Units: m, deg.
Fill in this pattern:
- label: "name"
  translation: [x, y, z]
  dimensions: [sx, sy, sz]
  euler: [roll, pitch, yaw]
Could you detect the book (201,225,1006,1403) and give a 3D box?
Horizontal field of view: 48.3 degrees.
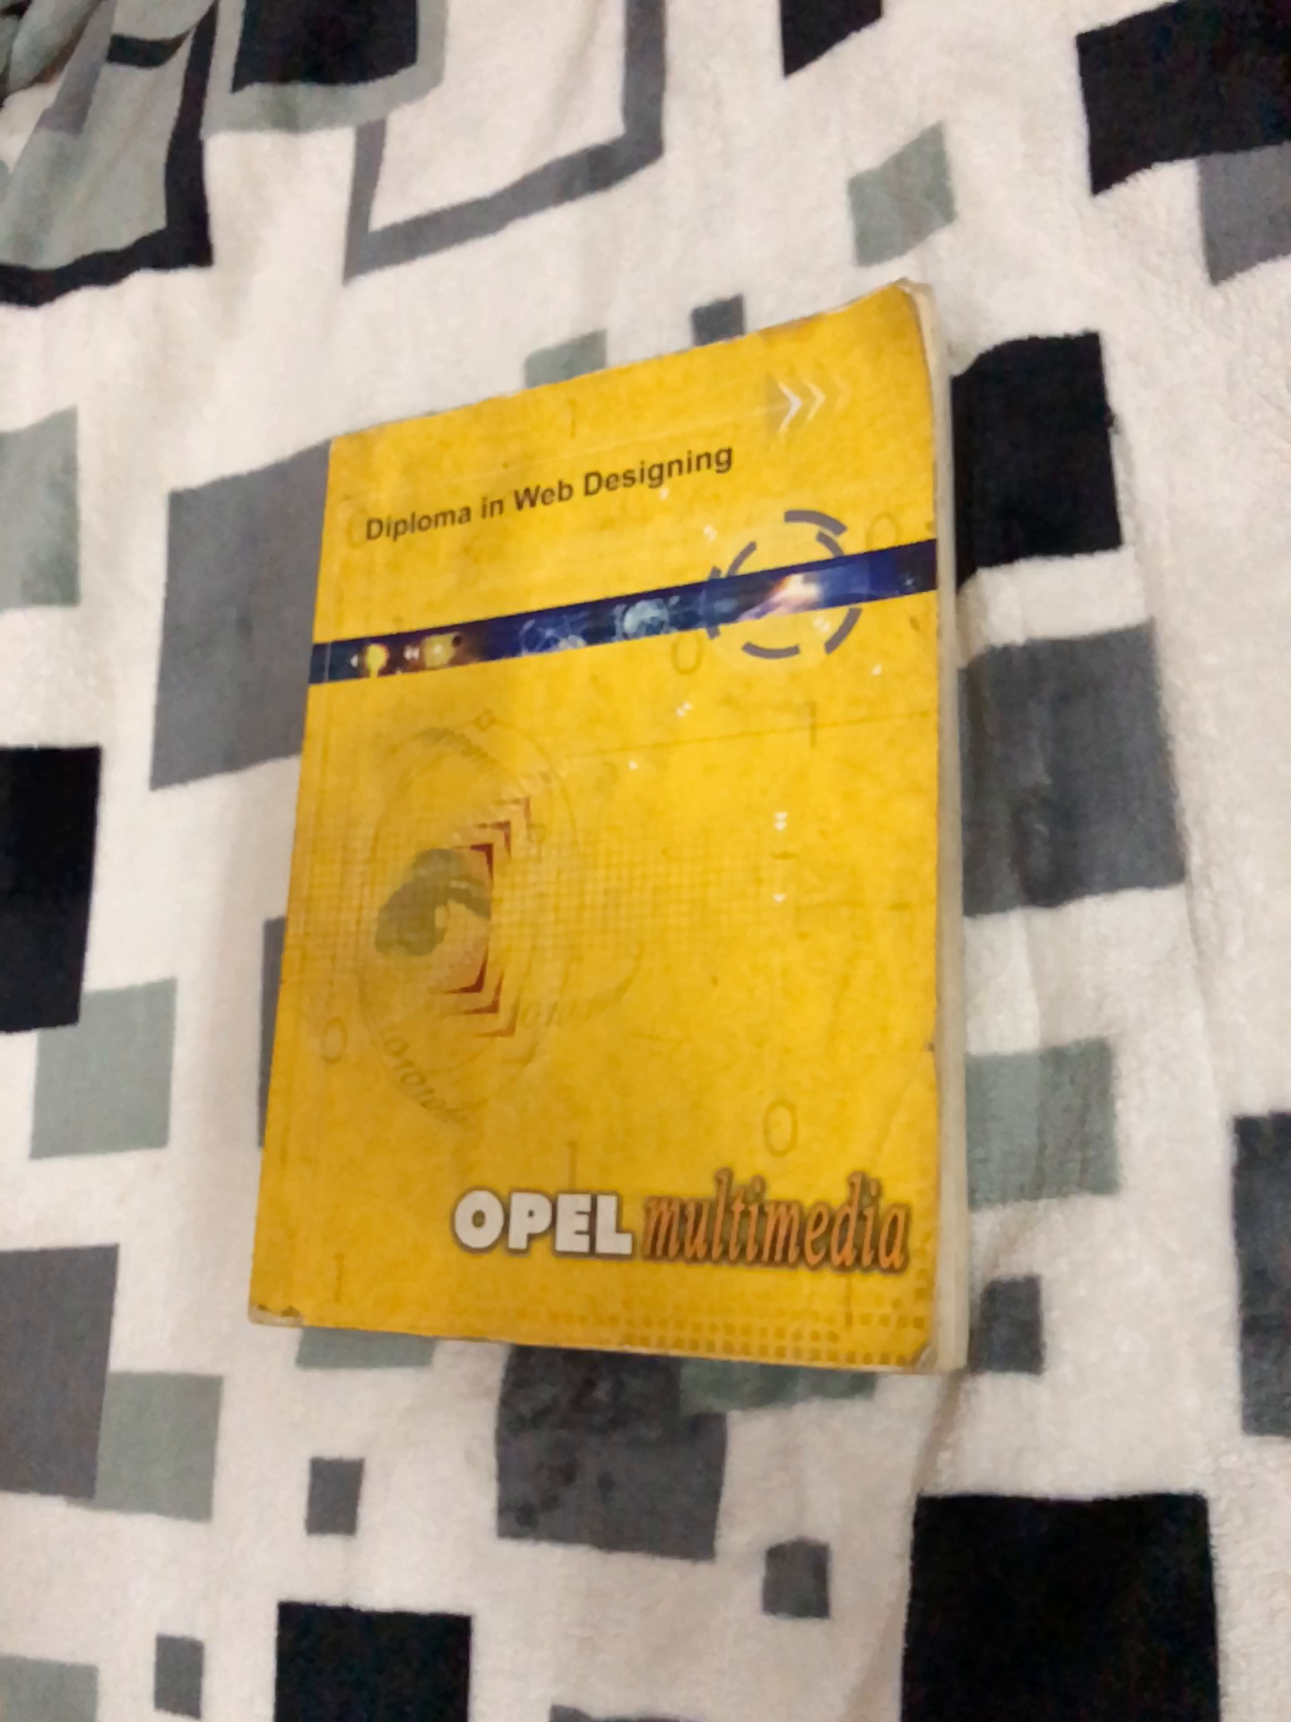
- label: "book"
  translation: [-0.010, -0.011, 0.443]
  dimensions: [0.220, 0.070, 0.310]
  euler: [-5, 74, 27]
